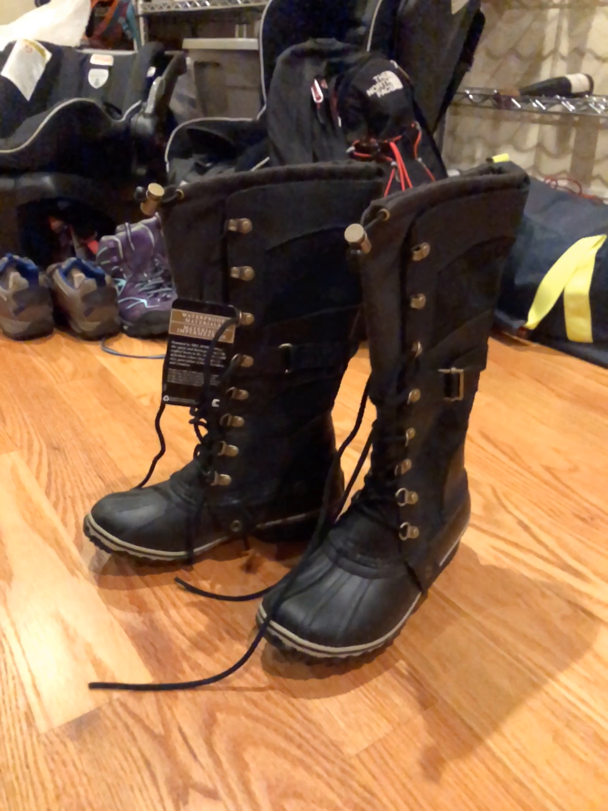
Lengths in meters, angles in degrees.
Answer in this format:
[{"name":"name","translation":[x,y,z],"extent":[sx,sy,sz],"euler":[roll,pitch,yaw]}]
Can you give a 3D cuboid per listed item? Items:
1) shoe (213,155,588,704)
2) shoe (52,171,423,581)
[{"name":"shoe","translation":[0.072,0.001,0.500],"extent":[0.100,0.328,0.261],"euler":[25,35,38]},{"name":"shoe","translation":[-0.055,-0.029,0.571],"extent":[0.260,0.308,0.100],"euler":[-7,28,-17]}]
